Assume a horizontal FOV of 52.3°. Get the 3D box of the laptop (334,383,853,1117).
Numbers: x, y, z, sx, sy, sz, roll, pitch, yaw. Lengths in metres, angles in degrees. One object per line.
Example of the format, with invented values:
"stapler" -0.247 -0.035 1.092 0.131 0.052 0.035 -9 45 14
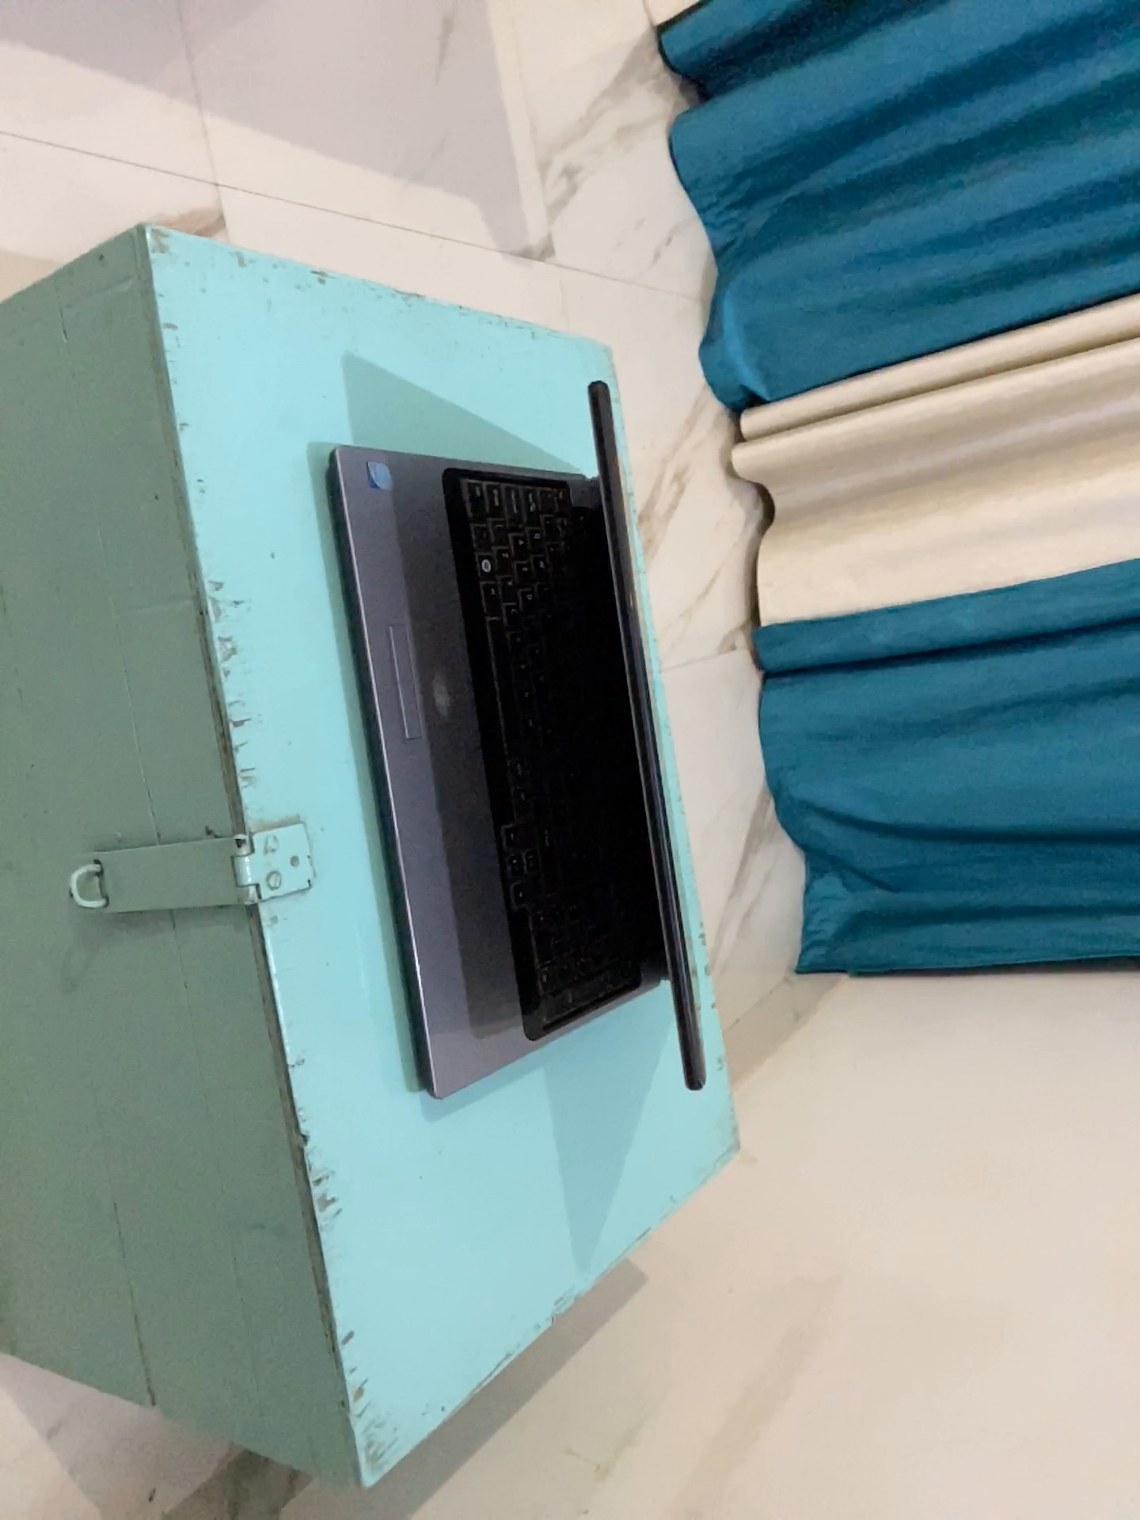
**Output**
"laptop" 0.031 -0.012 0.752 0.262 0.152 0.387 -13 95 -53
